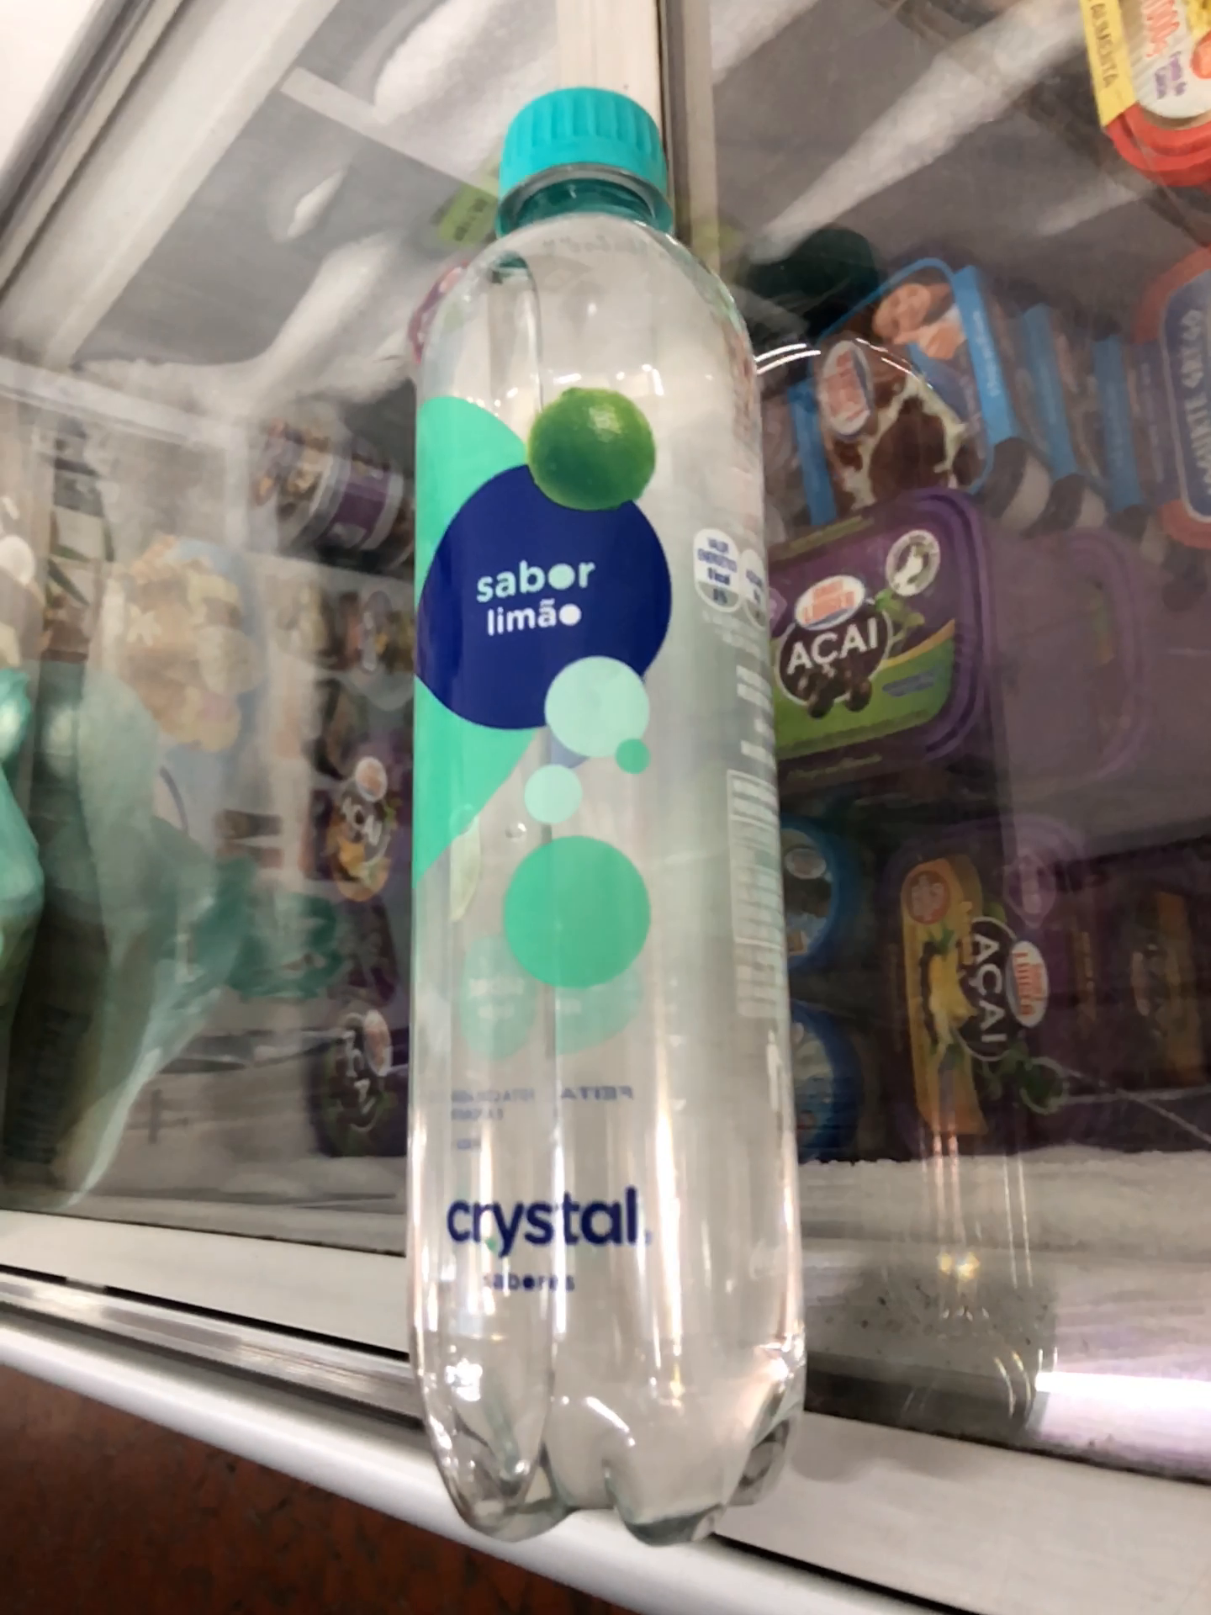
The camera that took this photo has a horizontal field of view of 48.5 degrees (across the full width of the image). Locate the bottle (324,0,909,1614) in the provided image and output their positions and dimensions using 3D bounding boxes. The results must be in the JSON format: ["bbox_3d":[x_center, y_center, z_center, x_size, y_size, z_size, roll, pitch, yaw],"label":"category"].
[{"bbox_3d":[0.005,0.012,0.213,0.070,0.070,0.240,-3,84,18],"label":"bottle"}]
